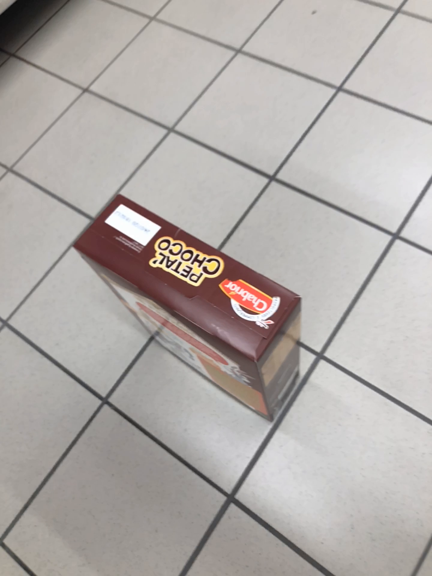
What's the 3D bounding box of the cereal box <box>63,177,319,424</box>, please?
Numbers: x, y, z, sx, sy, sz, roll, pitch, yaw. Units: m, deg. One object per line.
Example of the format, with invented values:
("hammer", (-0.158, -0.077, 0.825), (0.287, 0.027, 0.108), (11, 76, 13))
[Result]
("cereal box", (-0.004, 0.034, 0.499), (0.200, 0.279, 0.070), (30, 74, 21))
